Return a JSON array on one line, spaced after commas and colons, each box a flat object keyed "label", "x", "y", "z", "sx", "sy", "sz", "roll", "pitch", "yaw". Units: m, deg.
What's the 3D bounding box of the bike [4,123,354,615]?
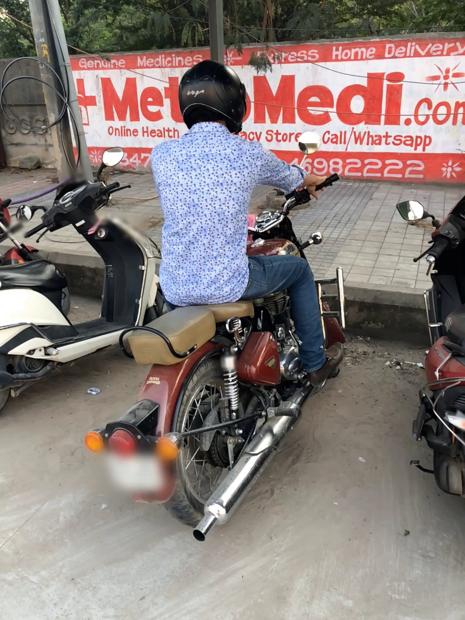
[{"label": "bike", "x": -0.049, "y": 0.014, "z": 2.281, "sx": 0.794, "sy": 1.256, "sz": 1.556, "roll": 9, "pitch": 31, "yaw": 23}]
